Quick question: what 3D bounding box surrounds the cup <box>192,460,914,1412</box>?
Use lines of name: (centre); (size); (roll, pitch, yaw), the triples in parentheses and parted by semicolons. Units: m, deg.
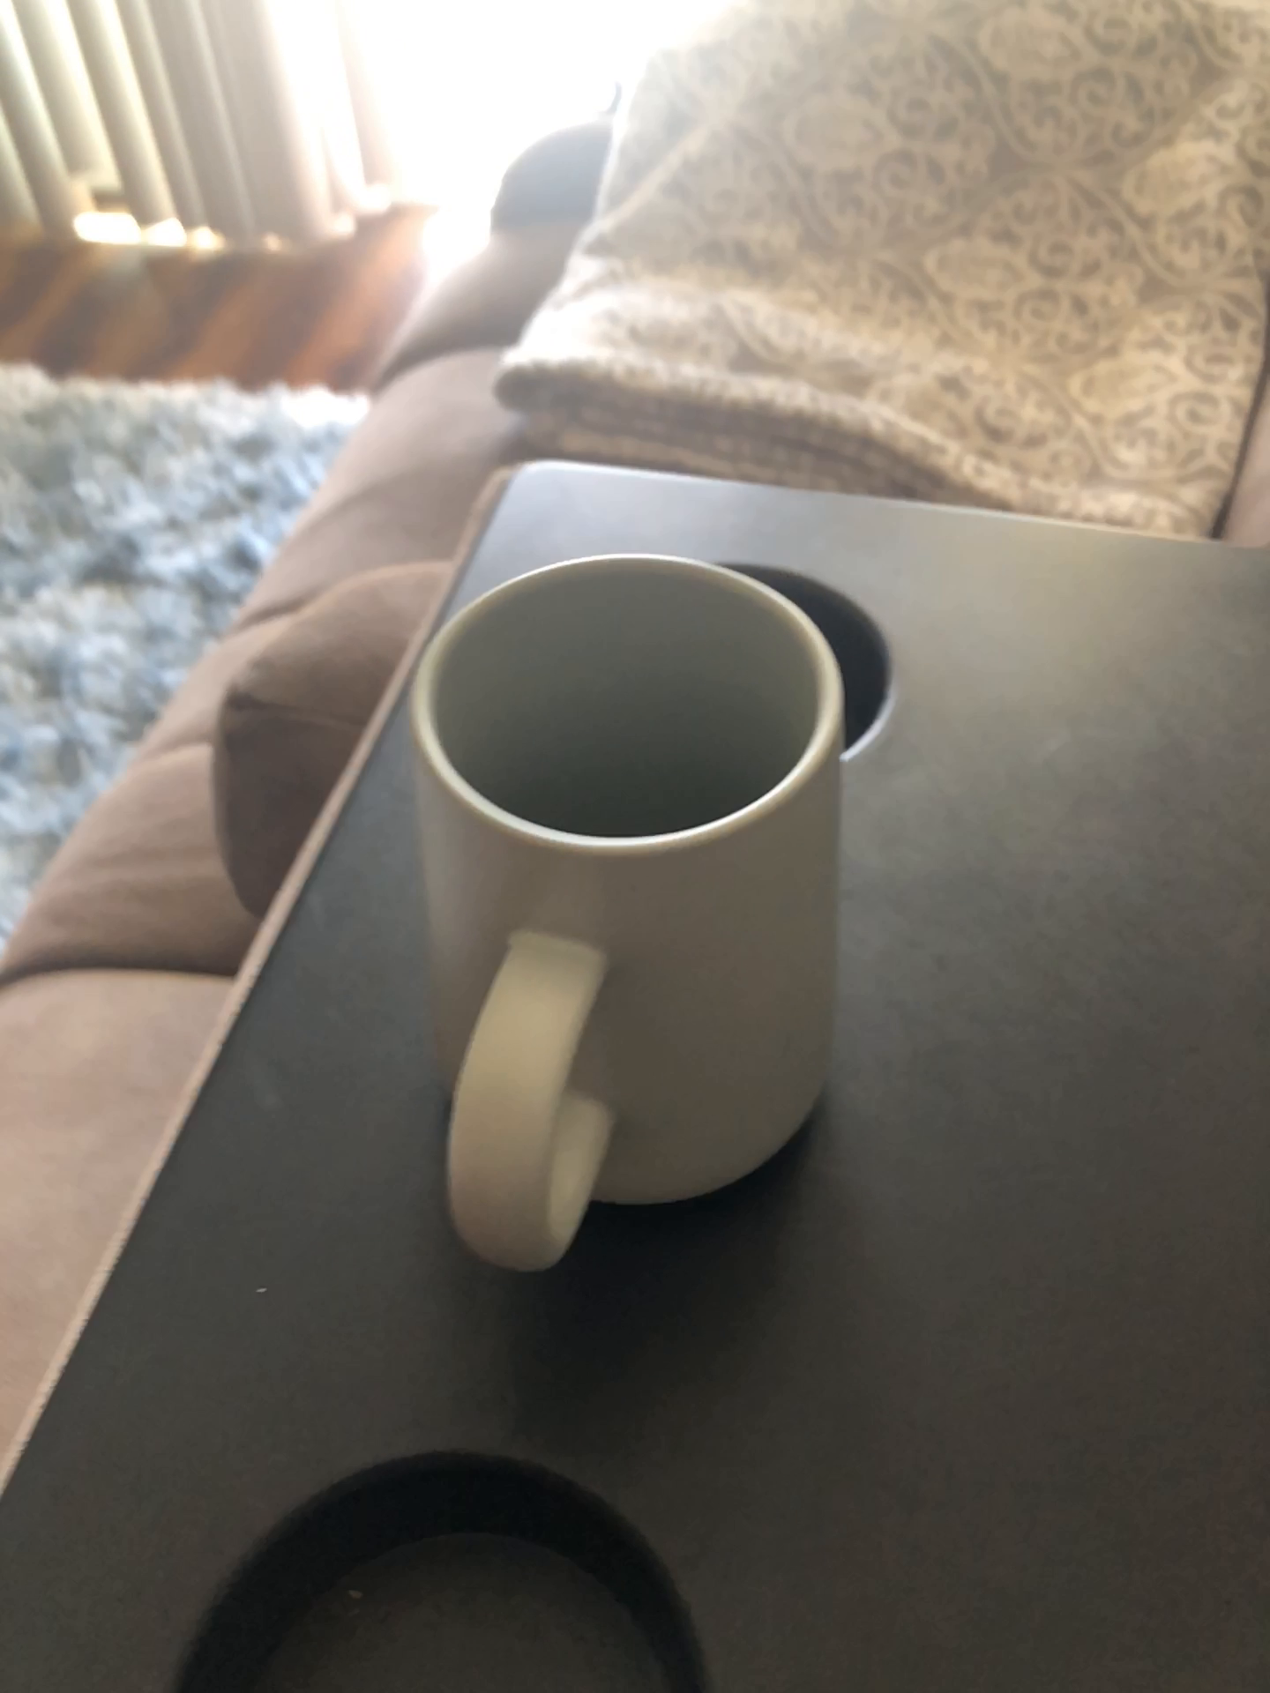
cup: (-0.003, 0.016, 0.294); (0.086, 0.121, 0.137); (11, 49, 13)
